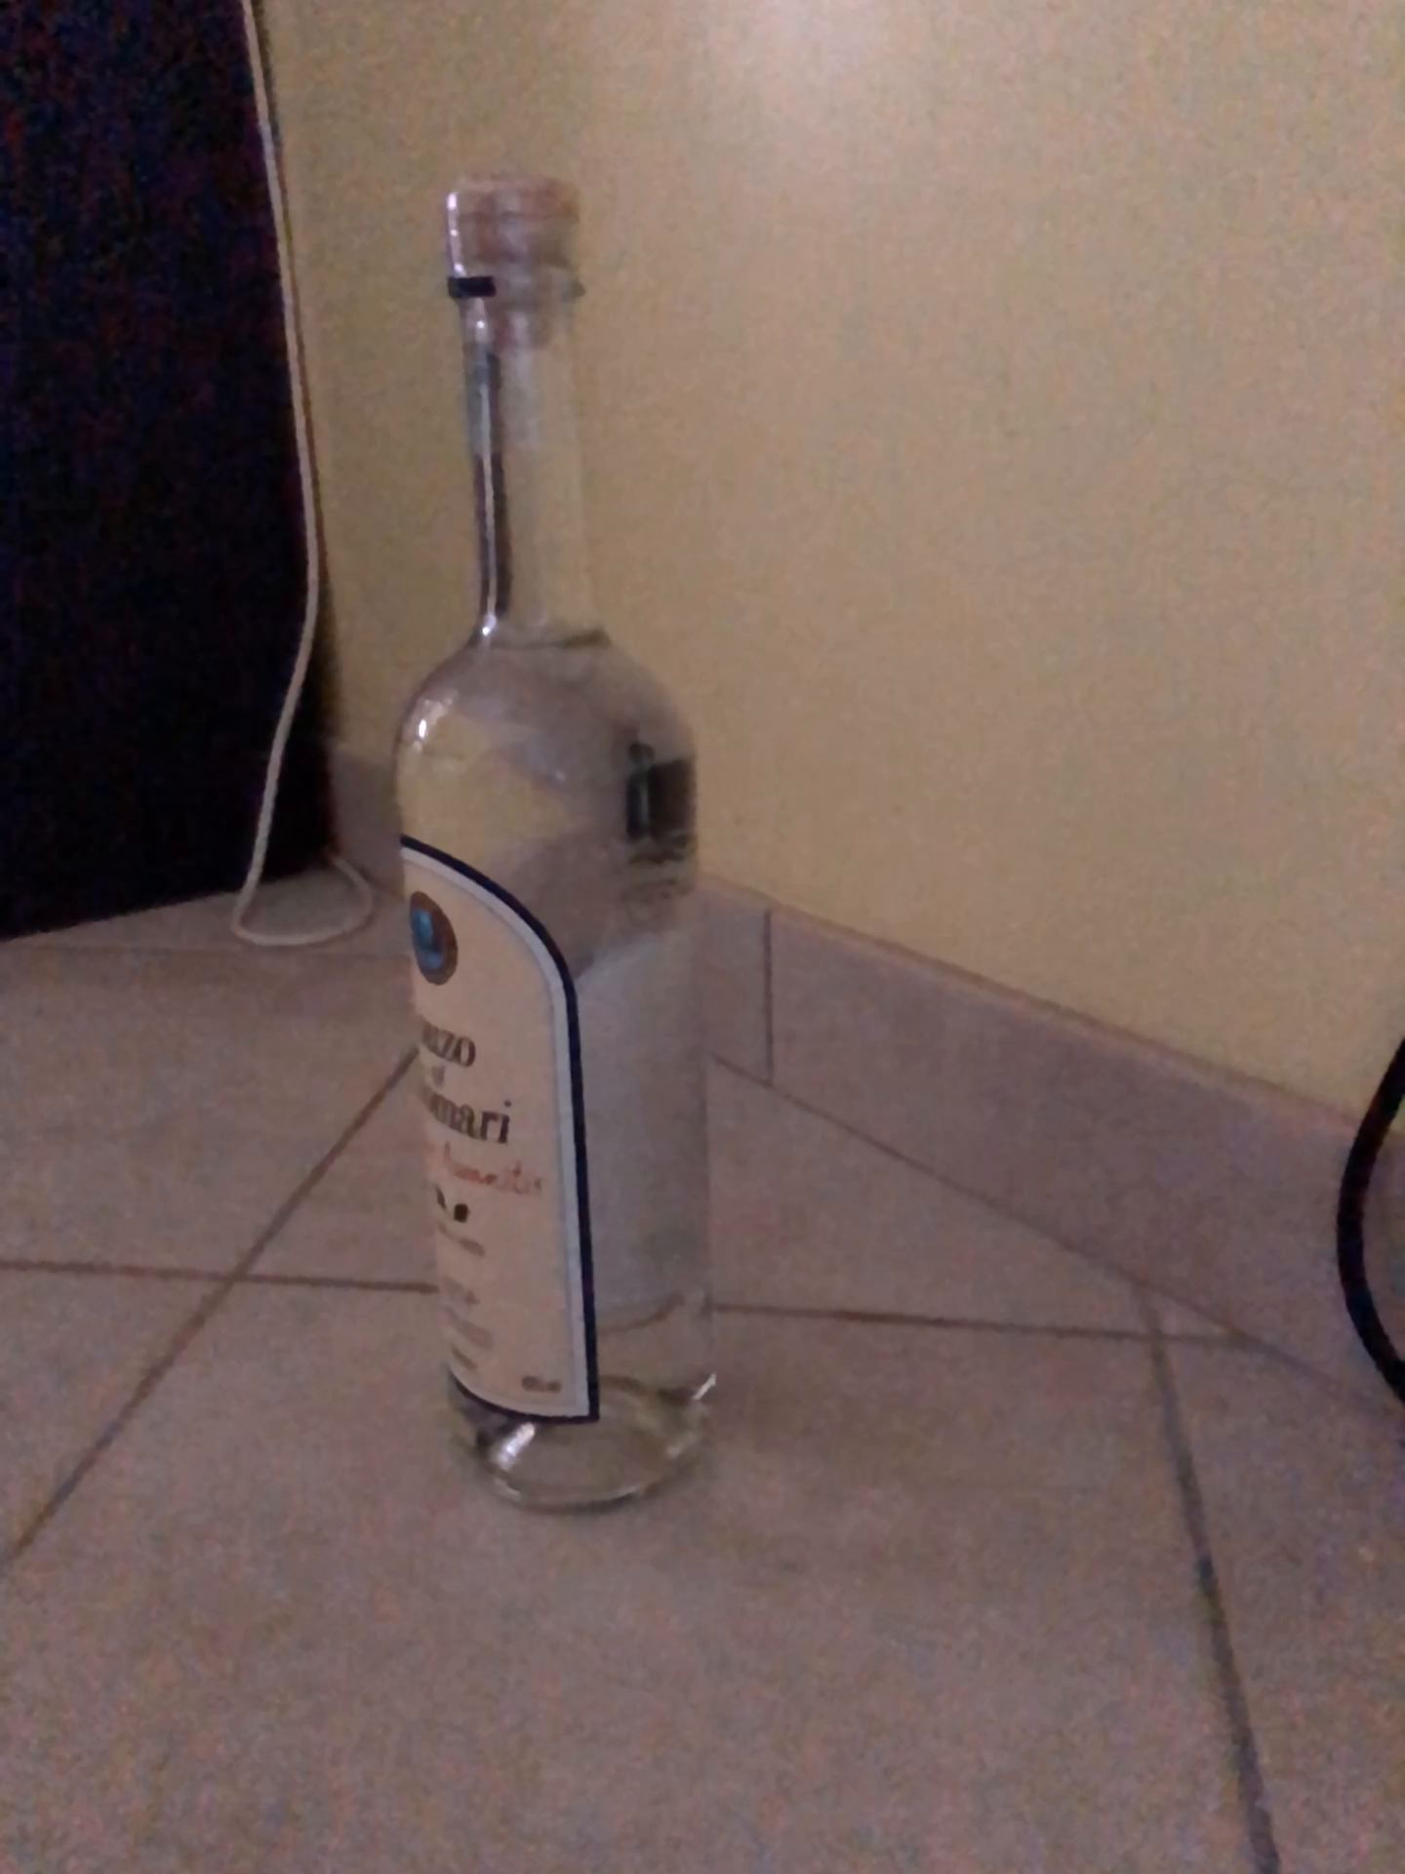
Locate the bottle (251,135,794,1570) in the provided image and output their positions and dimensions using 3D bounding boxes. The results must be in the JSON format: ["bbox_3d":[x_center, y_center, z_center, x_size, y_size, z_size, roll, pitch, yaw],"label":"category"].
[{"bbox_3d":[-0.036,-0.013,0.383,0.080,0.319,0.080,-2,19,1],"label":"bottle"}]
